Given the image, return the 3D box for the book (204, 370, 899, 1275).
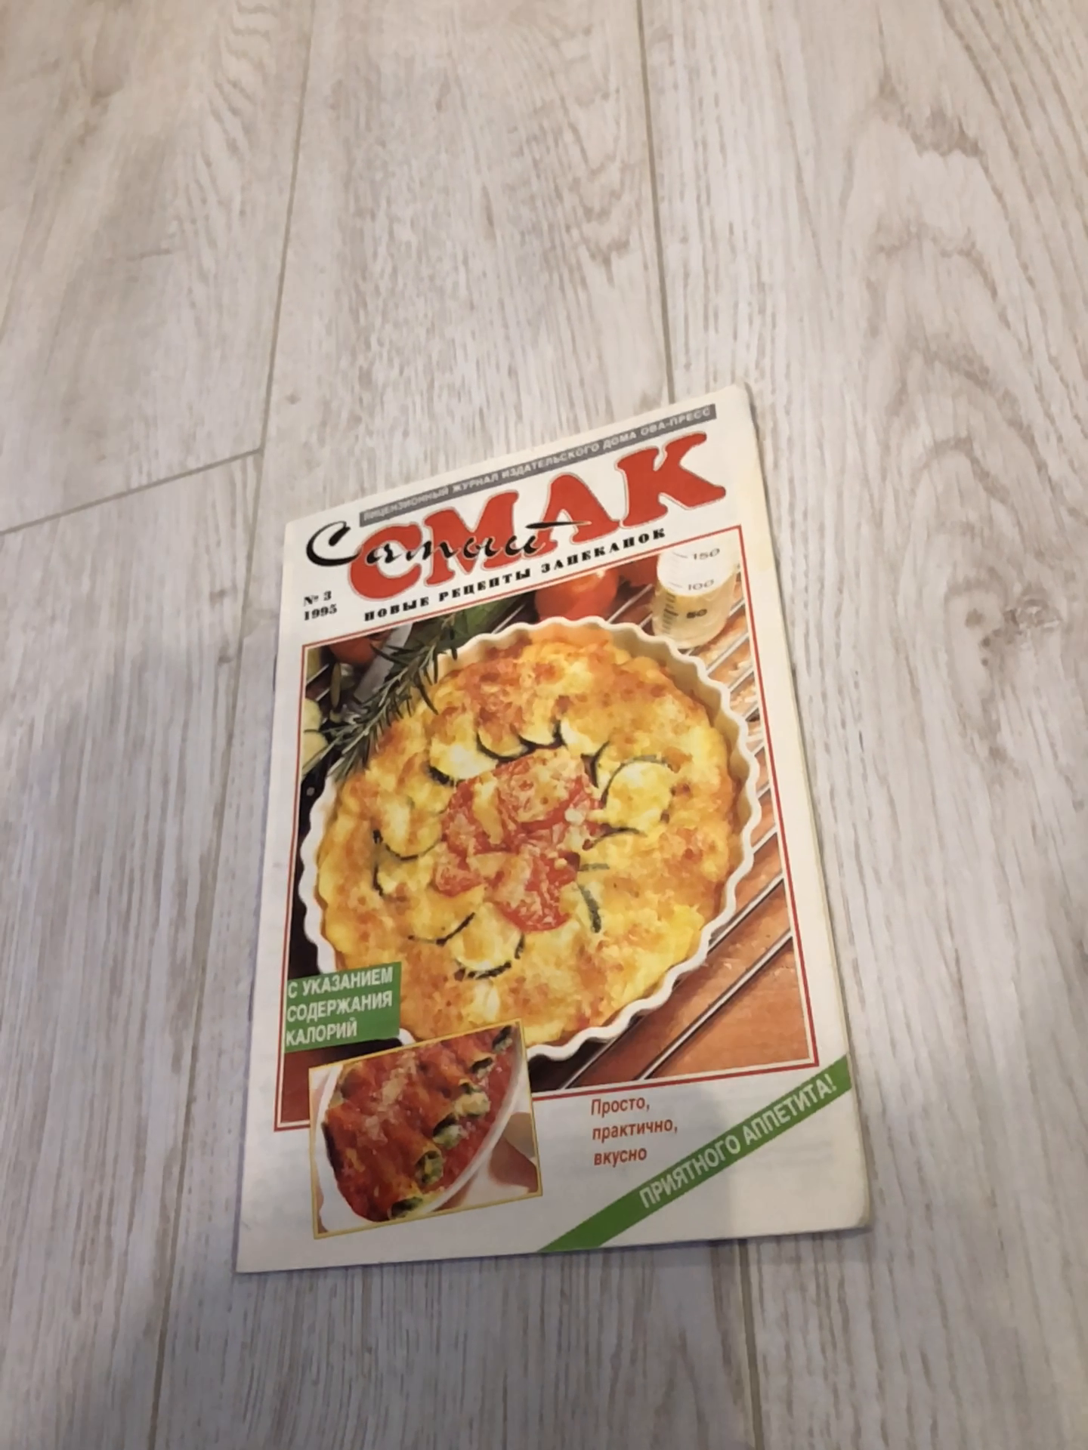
[{"bbox_3d":[-0.008,0.020,0.330,0.165,0.020,0.230,-13,60,20],"label":"book"}]
